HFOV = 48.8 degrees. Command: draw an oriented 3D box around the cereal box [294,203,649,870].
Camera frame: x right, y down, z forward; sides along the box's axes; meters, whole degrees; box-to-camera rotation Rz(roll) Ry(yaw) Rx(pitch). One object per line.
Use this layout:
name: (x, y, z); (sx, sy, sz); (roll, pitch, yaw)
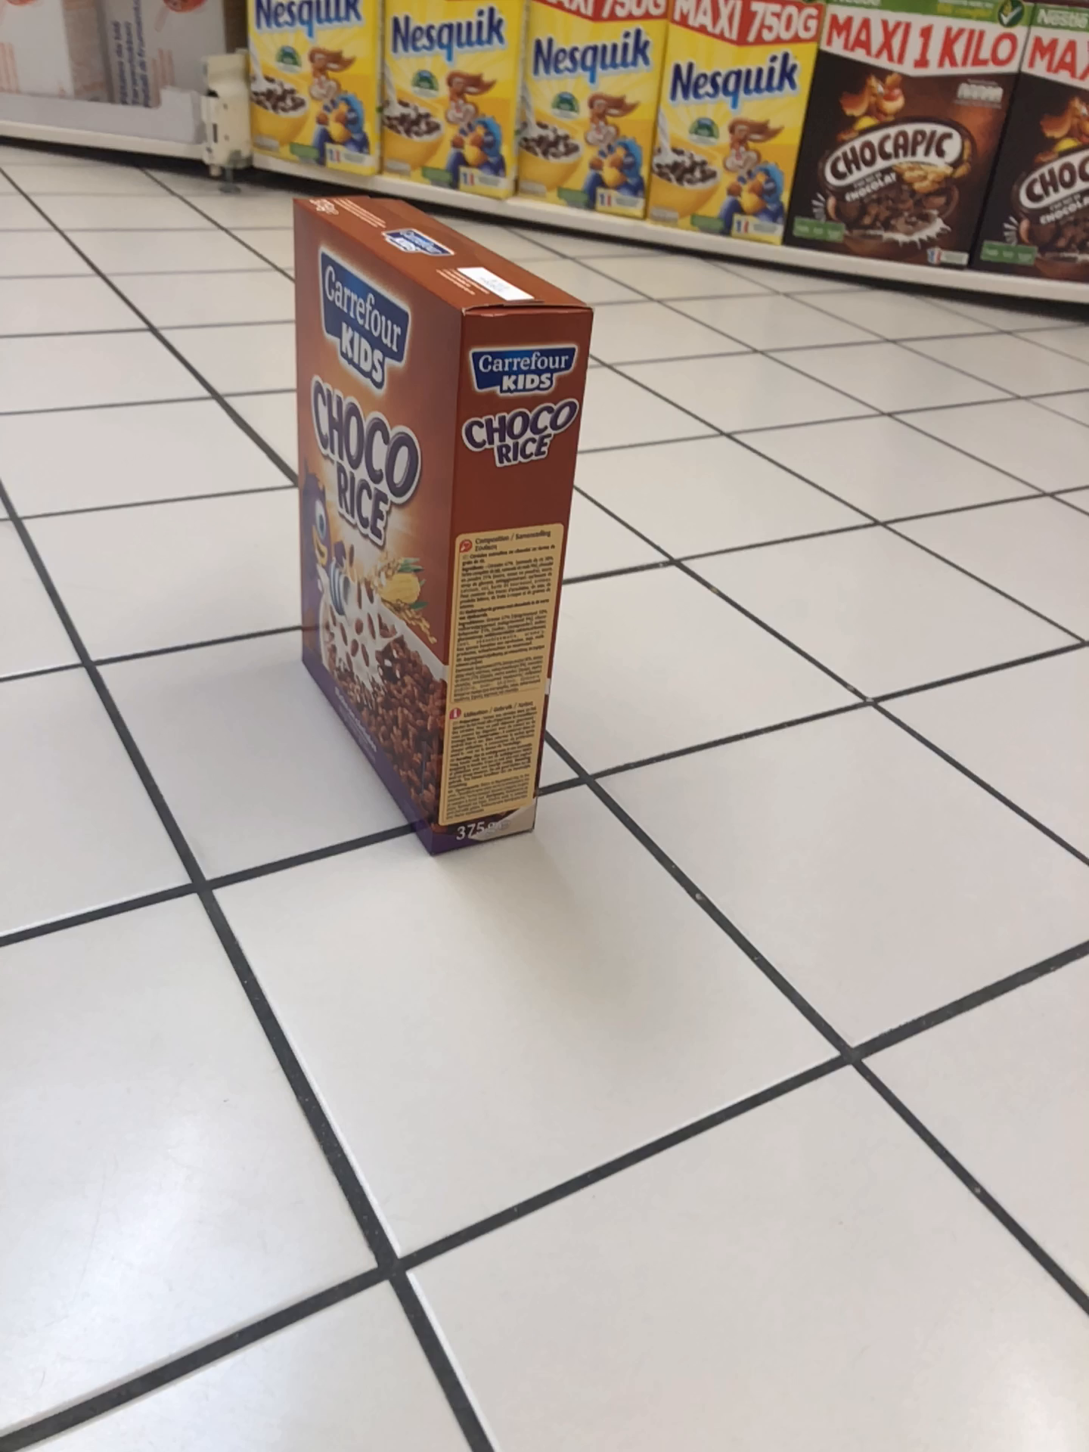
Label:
cereal box: (-0.050, -0.094, 0.557); (0.070, 0.238, 0.201); (-11, 36, -26)
